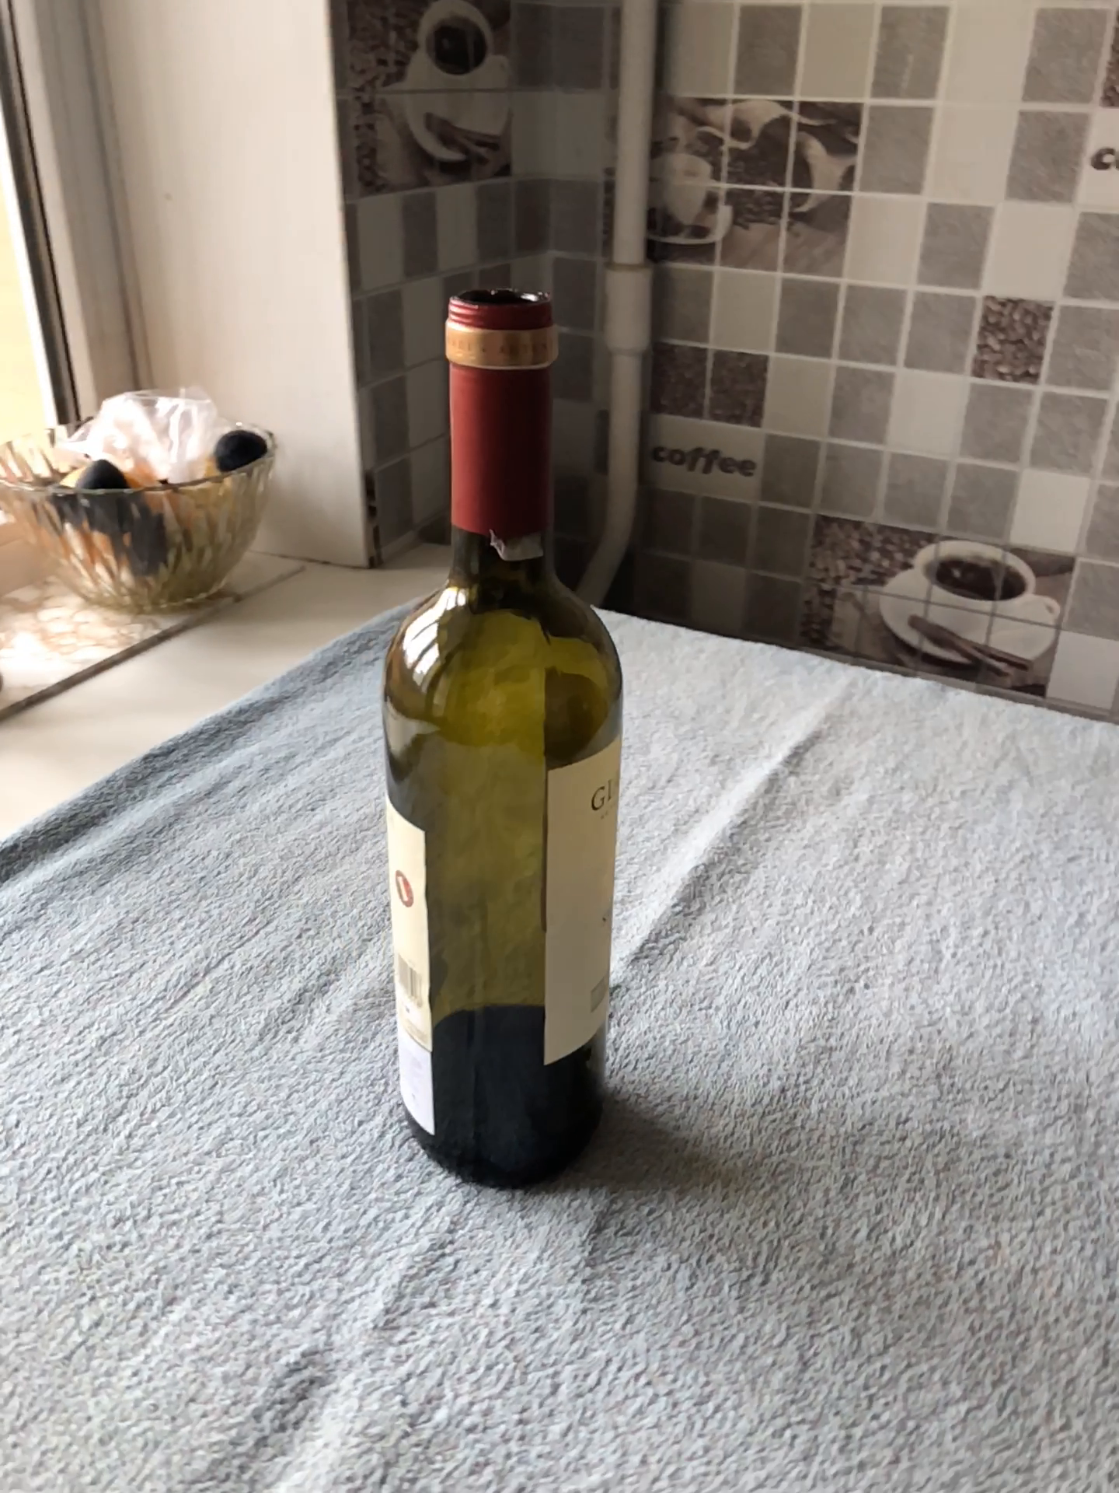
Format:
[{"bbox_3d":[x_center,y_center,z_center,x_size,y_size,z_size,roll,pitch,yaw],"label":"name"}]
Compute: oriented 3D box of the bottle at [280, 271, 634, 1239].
[{"bbox_3d":[-0.026,0.017,0.384,0.080,0.299,0.081,1,28,0],"label":"bottle"}]
